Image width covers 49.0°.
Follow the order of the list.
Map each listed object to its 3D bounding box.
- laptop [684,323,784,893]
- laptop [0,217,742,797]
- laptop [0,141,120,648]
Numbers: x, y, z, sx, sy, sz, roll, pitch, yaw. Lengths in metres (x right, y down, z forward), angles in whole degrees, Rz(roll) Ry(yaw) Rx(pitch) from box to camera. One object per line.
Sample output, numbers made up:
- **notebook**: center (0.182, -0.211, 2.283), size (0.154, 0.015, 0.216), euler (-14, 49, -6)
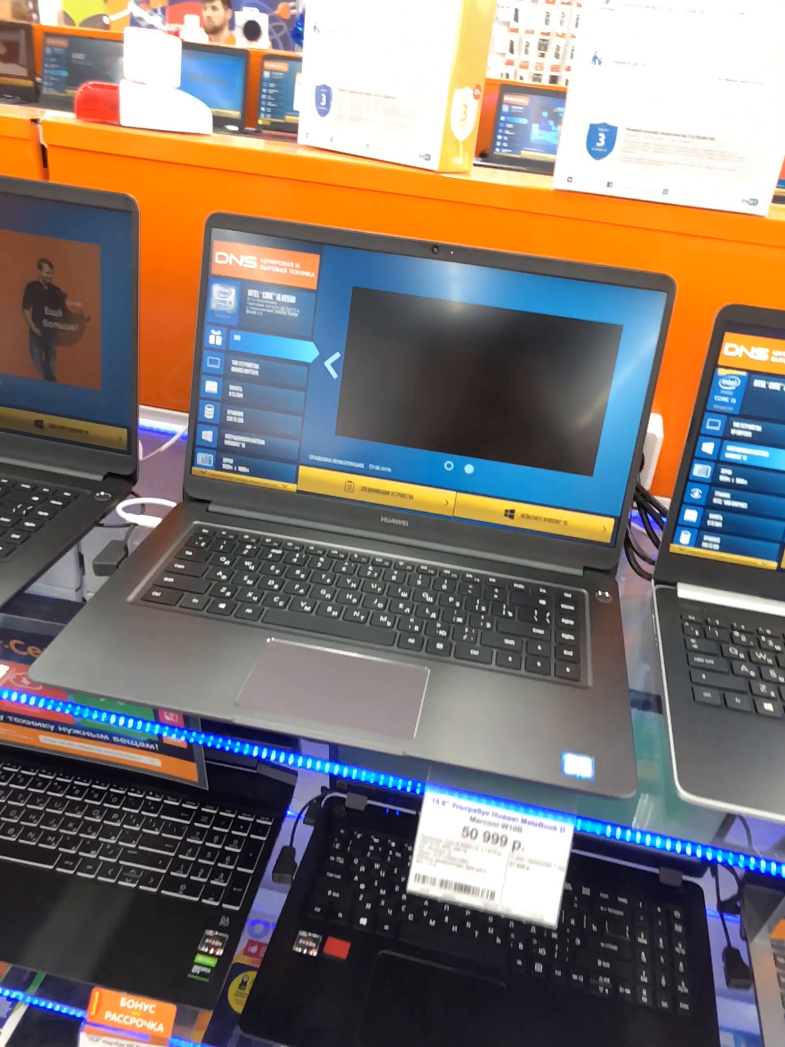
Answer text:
- **laptop**: center (0.338, 0.021, 0.499), size (0.269, 0.195, 0.244), euler (9, 29, 12)
- **laptop**: center (-0.006, -0.042, 0.554), size (0.338, 0.212, 0.289), euler (10, 29, 6)
- **laptop**: center (-0.399, -0.113, 0.594), size (0.355, 0.230, 0.242), euler (10, 27, 6)
